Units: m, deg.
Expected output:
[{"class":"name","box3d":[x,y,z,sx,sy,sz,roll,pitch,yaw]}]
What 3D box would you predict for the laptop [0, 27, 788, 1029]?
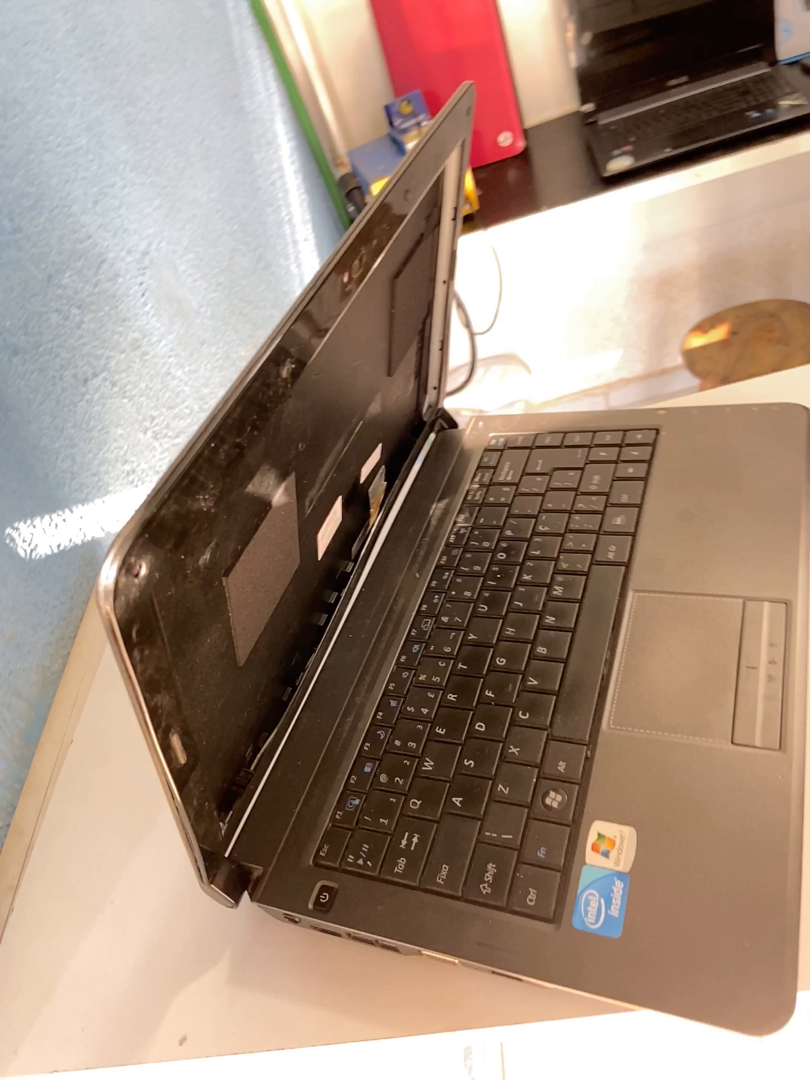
[{"class":"laptop","box3d":[0.043,-0.031,0.362,0.206,0.206,0.332,1,45,27]}]
